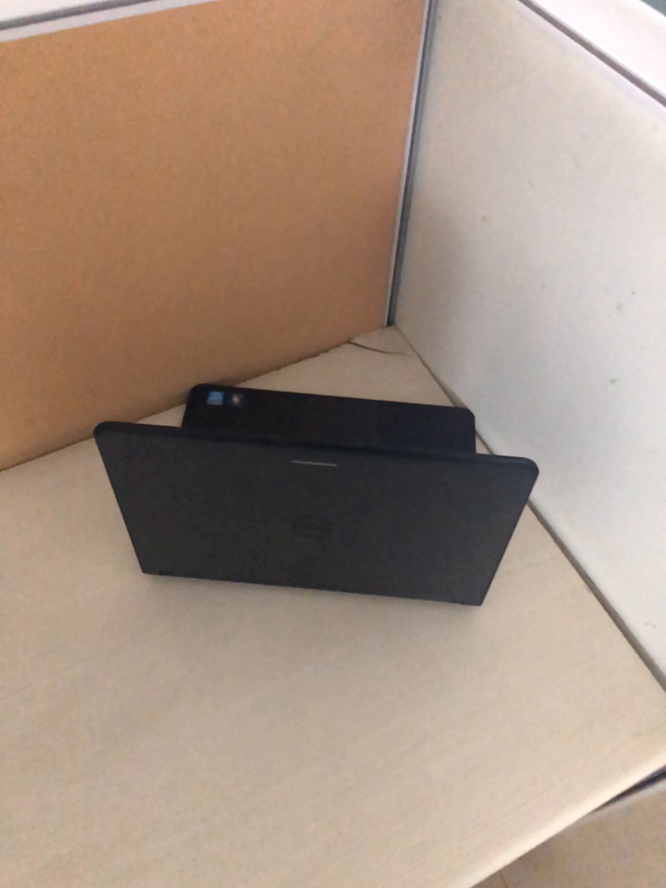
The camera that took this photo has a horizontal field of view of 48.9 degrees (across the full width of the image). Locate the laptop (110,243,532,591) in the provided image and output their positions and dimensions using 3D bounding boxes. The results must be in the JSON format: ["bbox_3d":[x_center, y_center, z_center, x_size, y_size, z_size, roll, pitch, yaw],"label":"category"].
[{"bbox_3d":[-0.001,-0.020,0.675,0.304,0.211,0.215,5,55,2],"label":"laptop"}]
